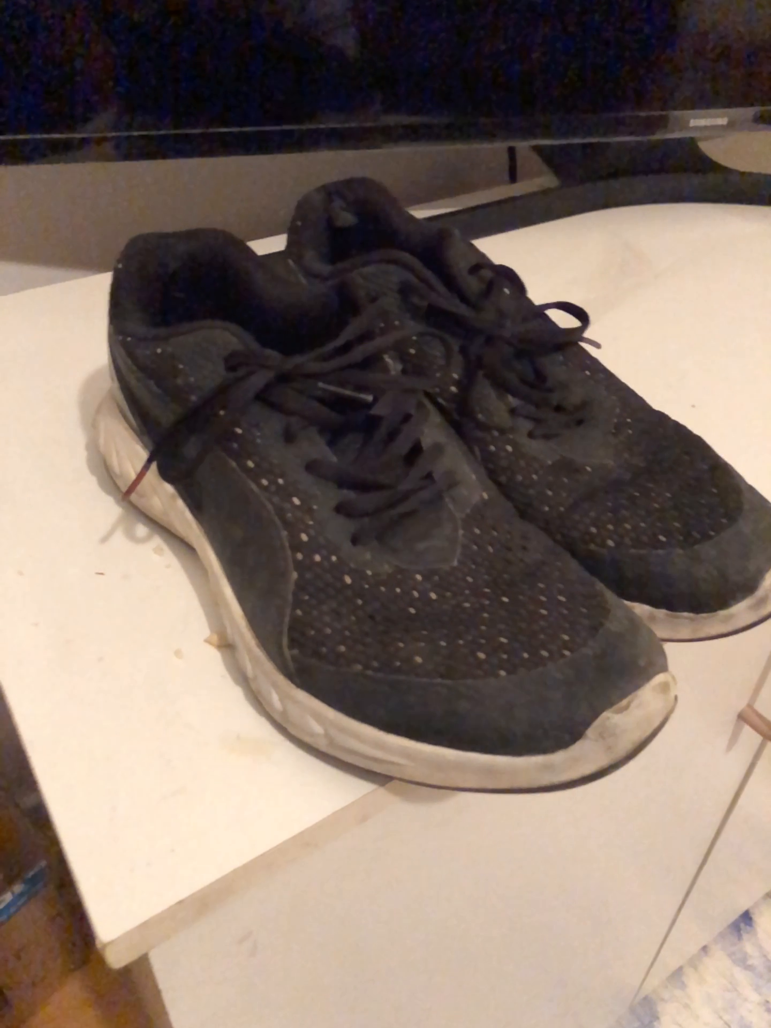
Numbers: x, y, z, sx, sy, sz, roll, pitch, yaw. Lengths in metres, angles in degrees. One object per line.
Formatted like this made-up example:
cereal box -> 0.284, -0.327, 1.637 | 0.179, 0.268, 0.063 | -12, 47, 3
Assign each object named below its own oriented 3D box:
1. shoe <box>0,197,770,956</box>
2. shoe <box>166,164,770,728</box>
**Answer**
shoe -> -0.042, -0.015, 0.324 | 0.120, 0.099, 0.310 | -30, 49, -32
shoe -> 0.040, -0.061, 0.395 | 0.120, 0.099, 0.310 | -30, 49, -32
